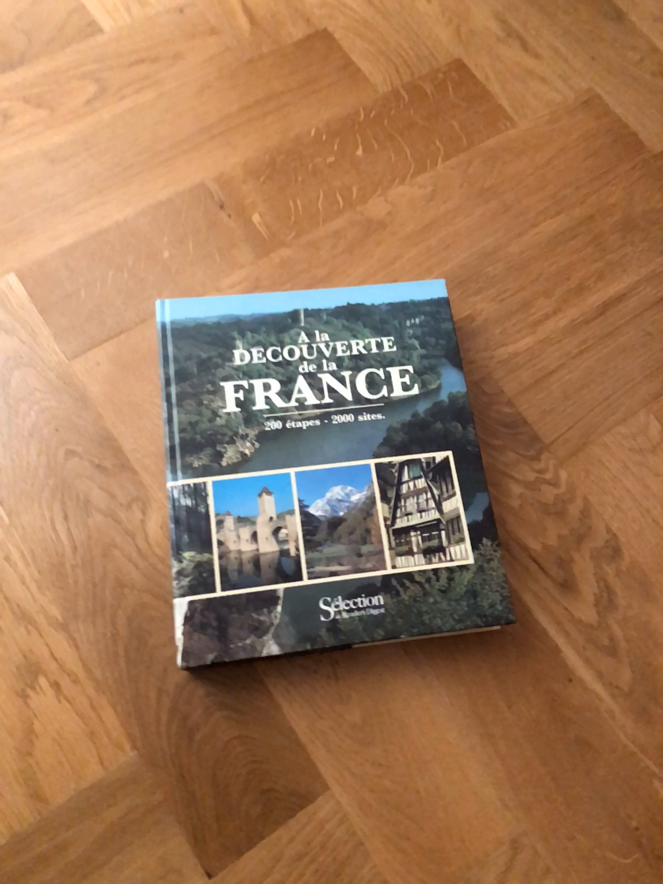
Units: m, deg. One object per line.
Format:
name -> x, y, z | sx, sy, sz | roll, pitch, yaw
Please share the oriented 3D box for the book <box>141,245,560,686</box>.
book -> 0.003, 0.004, 0.516 | 0.250, 0.040, 0.290 | -6, 71, -7
